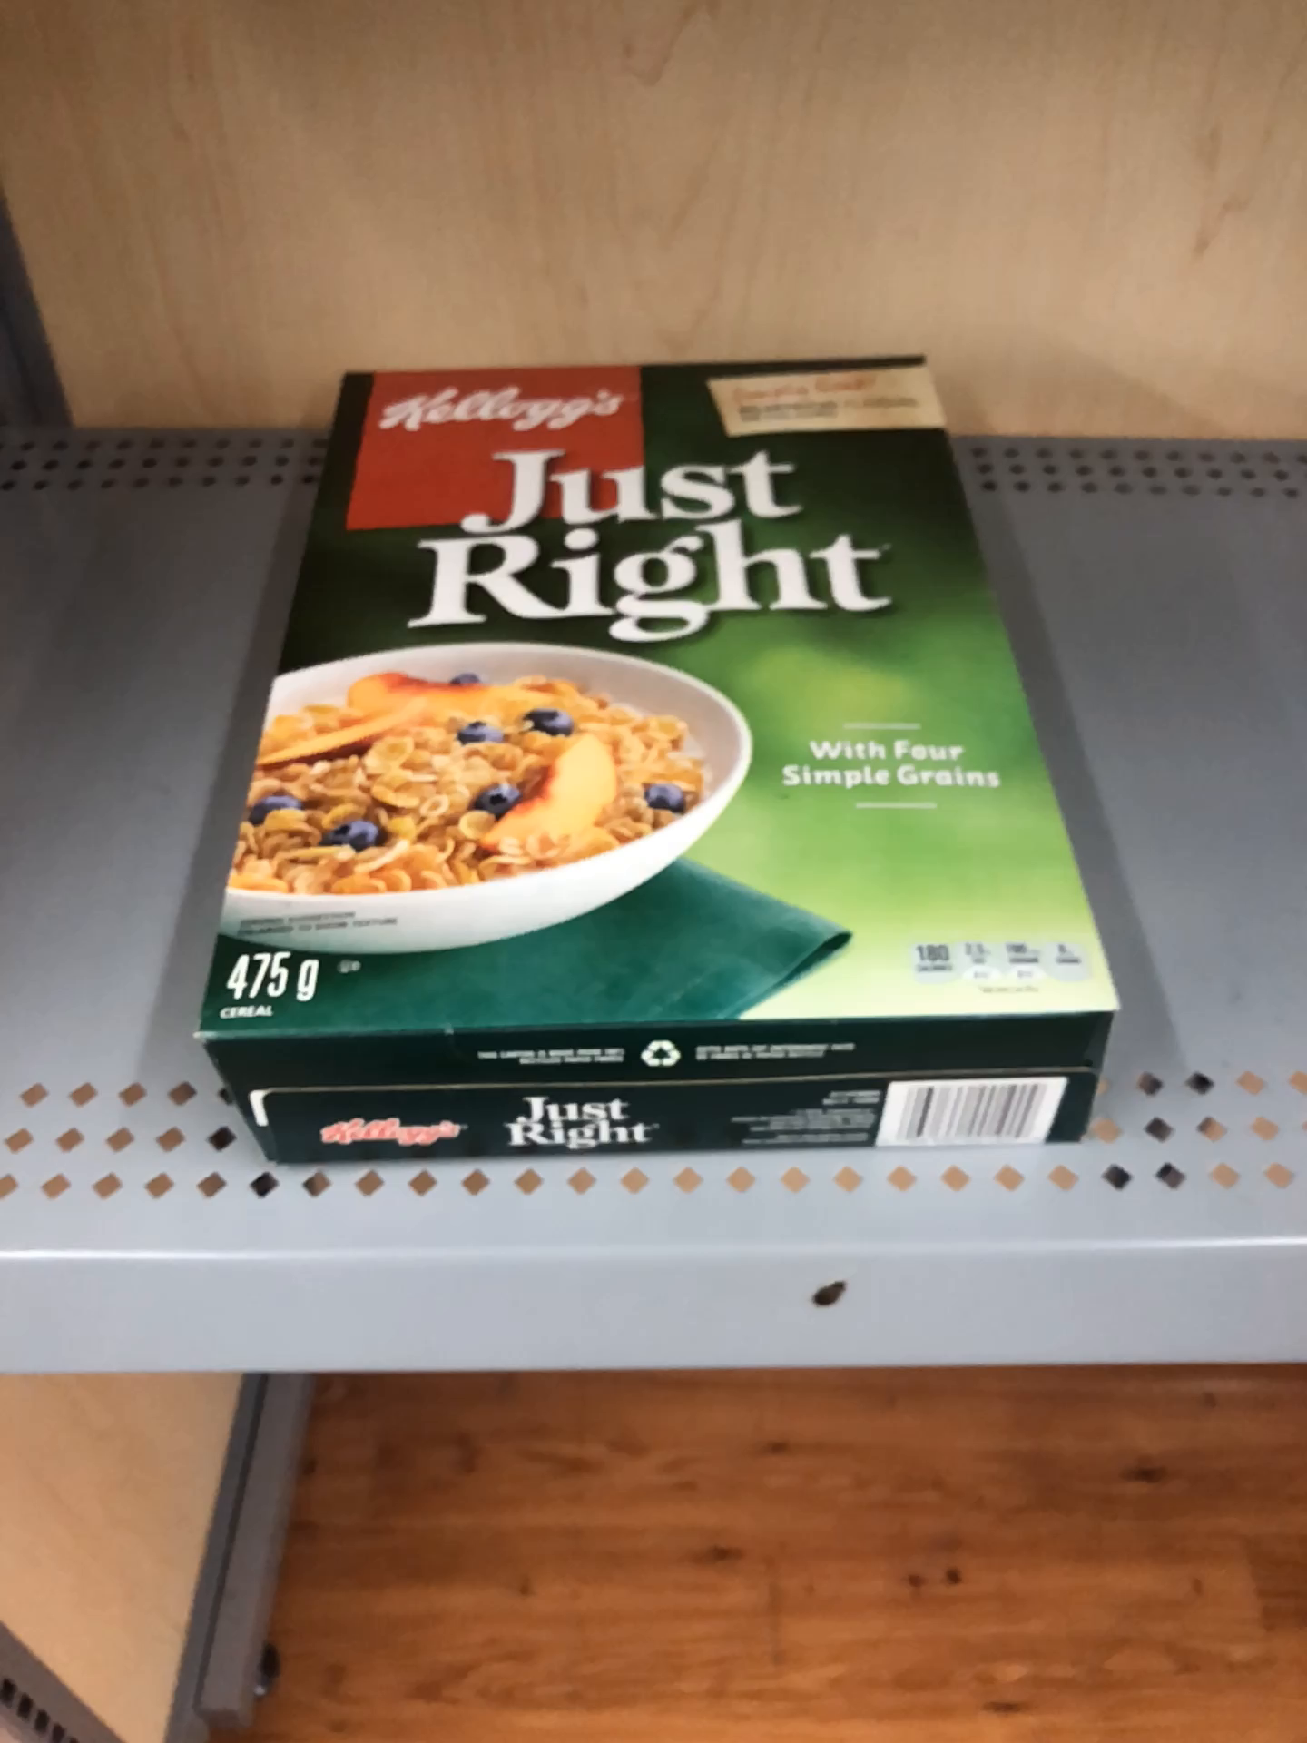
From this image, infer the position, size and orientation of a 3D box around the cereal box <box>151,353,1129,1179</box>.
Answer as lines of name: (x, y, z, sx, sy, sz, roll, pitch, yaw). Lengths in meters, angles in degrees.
cereal box: (-0.006, -0.050, 0.412, 0.200, 0.060, 0.272, -2, 47, -1)
